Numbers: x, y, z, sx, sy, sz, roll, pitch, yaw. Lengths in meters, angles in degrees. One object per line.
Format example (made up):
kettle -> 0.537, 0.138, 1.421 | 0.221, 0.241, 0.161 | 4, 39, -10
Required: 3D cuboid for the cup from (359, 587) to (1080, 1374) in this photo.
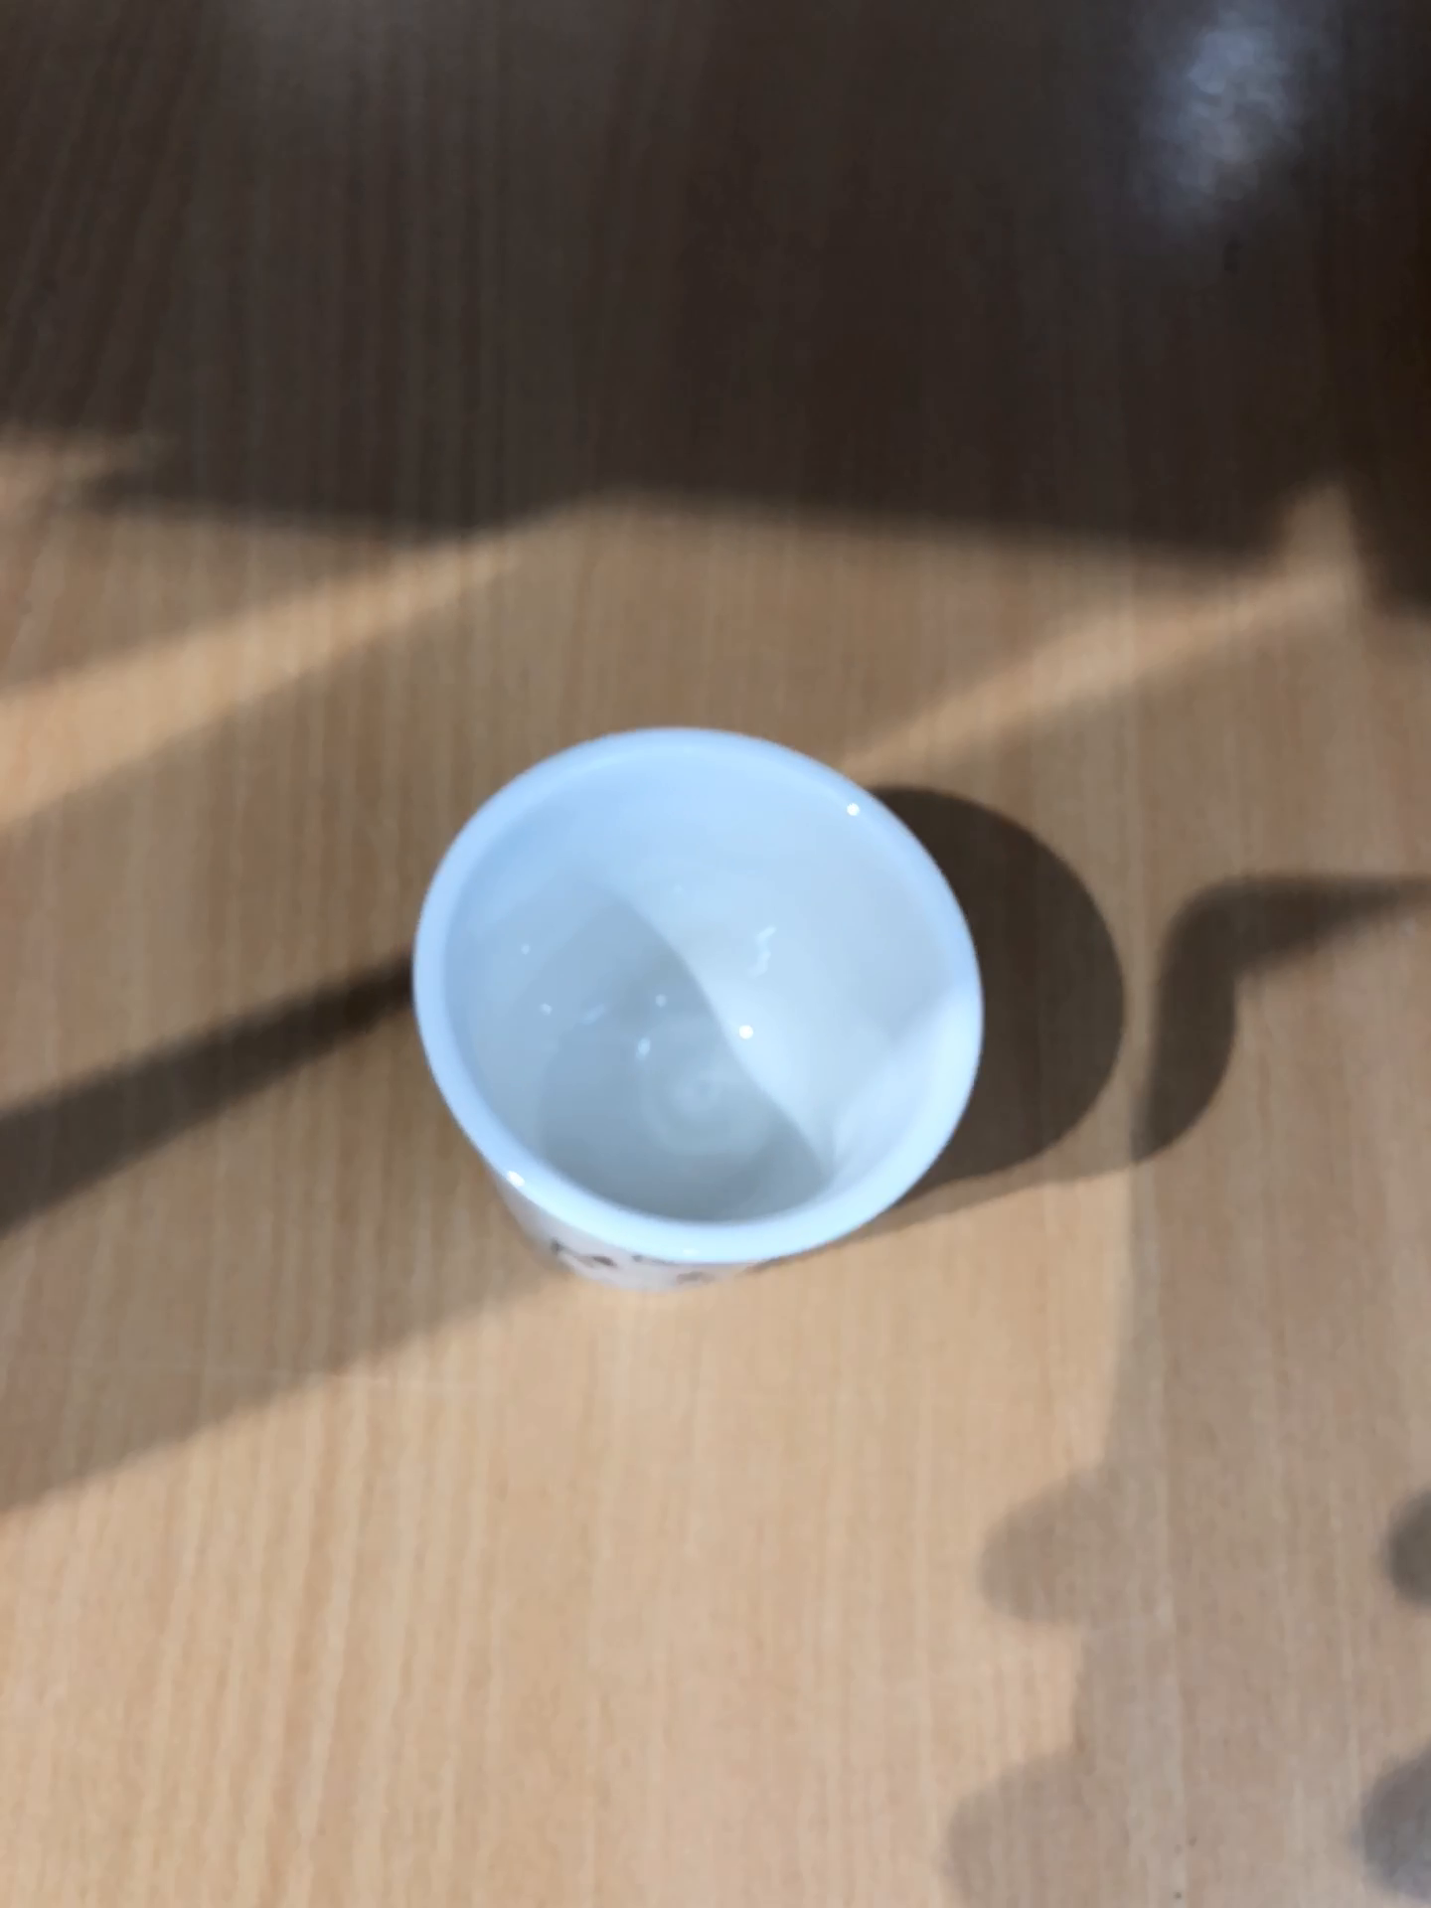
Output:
cup -> 0.001, 0.007, 0.224 | 0.080, 0.060, 0.080 | 3, 65, -7
